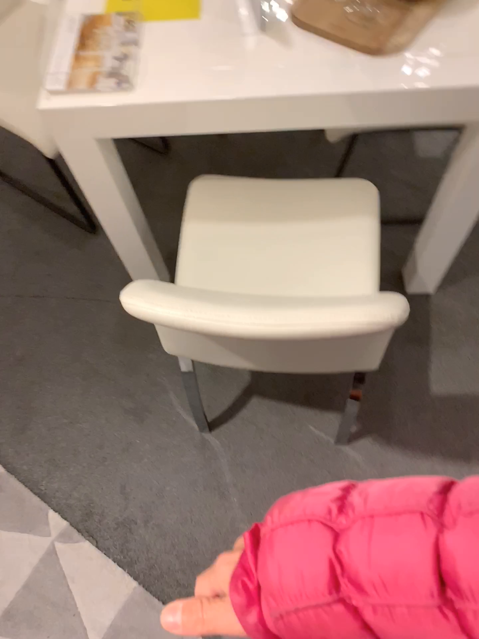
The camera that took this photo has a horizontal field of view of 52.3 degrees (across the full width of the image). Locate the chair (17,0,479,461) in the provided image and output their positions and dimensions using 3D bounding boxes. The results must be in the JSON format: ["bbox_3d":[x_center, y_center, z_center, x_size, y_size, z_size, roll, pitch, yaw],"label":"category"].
[{"bbox_3d":[0.084,-0.106,0.968,0.487,0.940,0.613,-1,65,4],"label":"chair"}]

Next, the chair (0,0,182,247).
[{"bbox_3d":[-0.601,-0.739,1.298,0.571,0.911,0.479,30,71,17],"label":"chair"}]
